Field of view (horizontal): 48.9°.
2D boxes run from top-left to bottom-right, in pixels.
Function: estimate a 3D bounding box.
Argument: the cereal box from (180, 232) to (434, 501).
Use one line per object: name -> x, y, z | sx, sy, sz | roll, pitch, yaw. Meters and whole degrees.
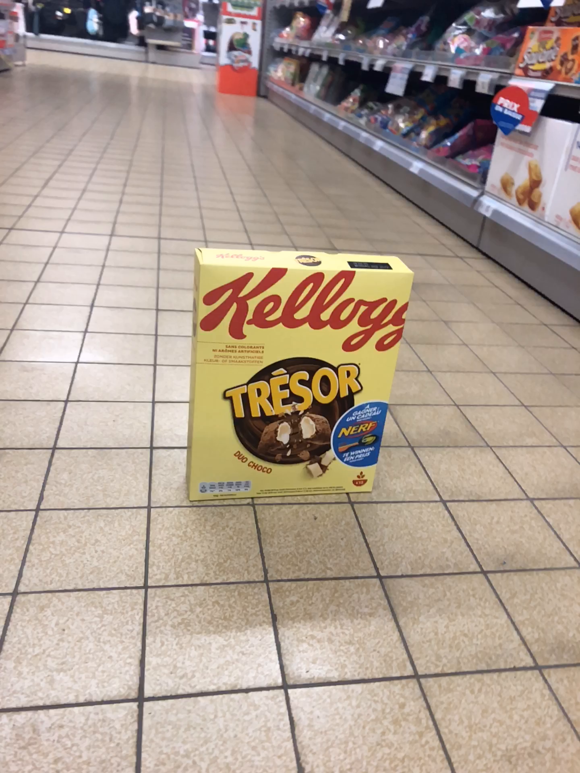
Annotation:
cereal box -> 0.004, -0.011, 0.593 | 0.200, 0.239, 0.060 | 0, 28, -13
